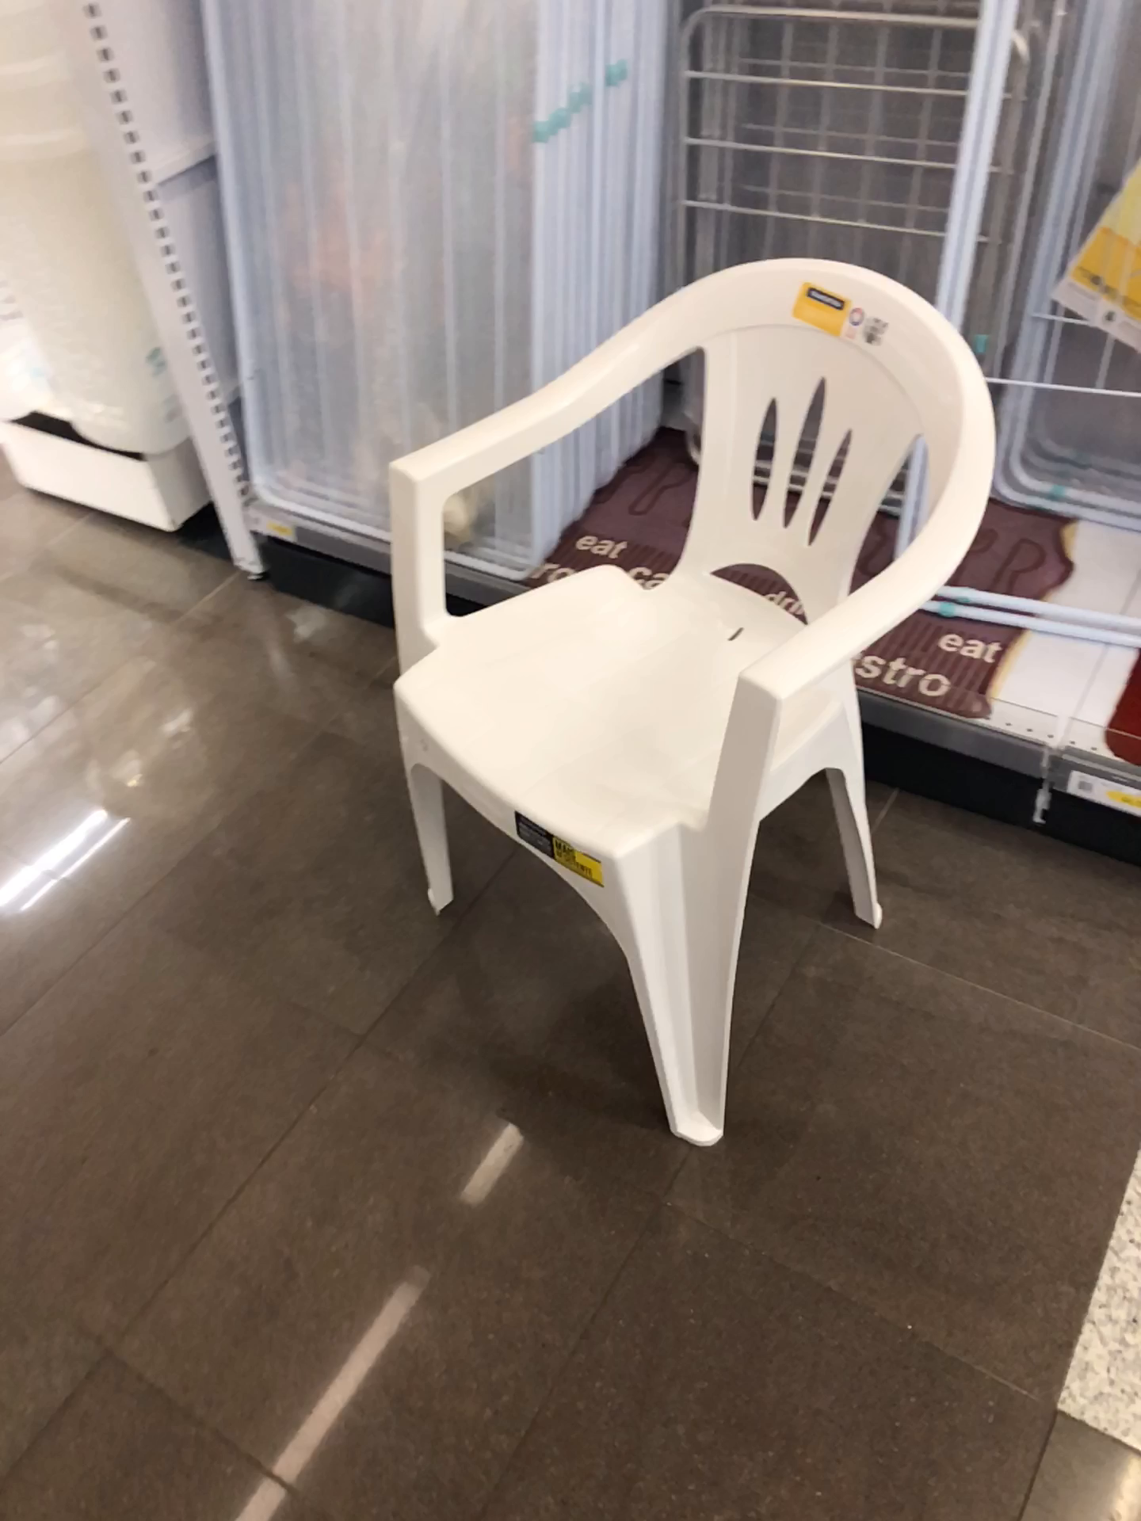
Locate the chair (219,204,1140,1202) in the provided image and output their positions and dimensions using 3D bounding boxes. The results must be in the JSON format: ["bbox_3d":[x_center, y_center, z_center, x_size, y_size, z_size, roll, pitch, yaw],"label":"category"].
[{"bbox_3d":[0.134,-0.091,1.364,0.602,0.705,0.603,-37,50,-27],"label":"chair"}]
